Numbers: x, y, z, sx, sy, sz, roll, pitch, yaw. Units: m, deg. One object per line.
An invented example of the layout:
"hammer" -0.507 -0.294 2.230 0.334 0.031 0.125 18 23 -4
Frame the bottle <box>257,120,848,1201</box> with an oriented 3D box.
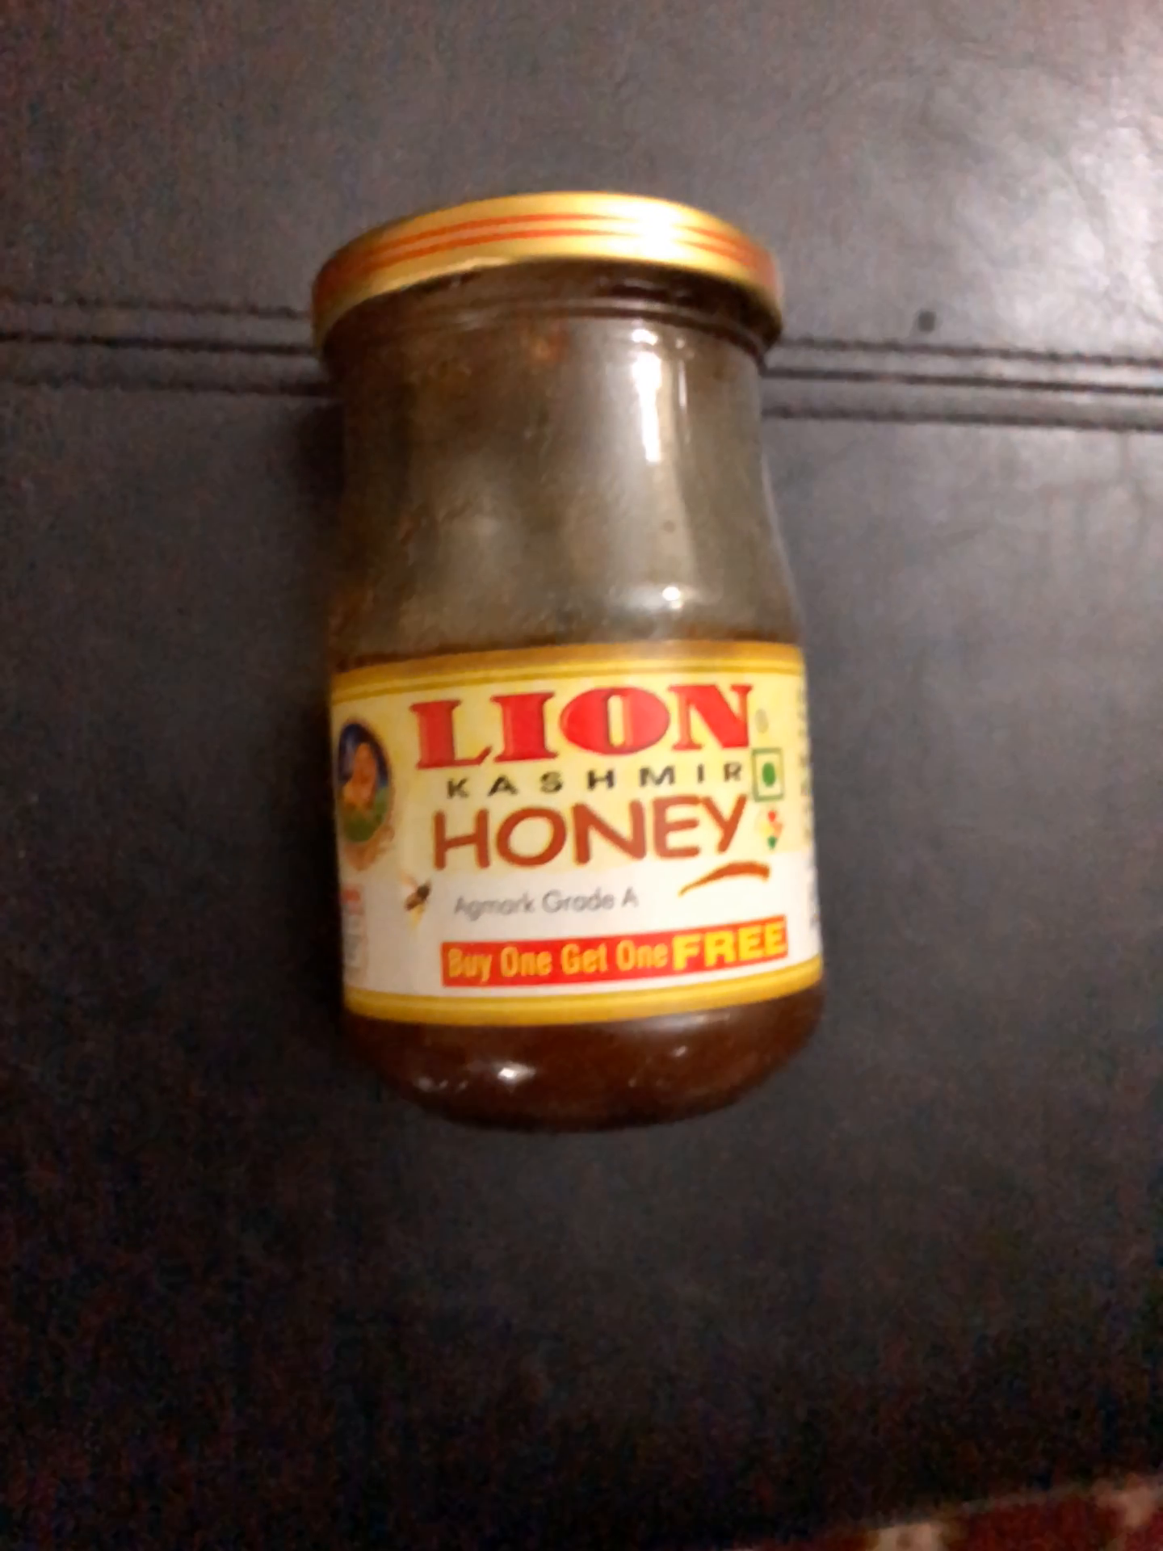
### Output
"bottle" -0.007 -0.012 0.169 0.060 0.059 0.108 -2 92 -12
